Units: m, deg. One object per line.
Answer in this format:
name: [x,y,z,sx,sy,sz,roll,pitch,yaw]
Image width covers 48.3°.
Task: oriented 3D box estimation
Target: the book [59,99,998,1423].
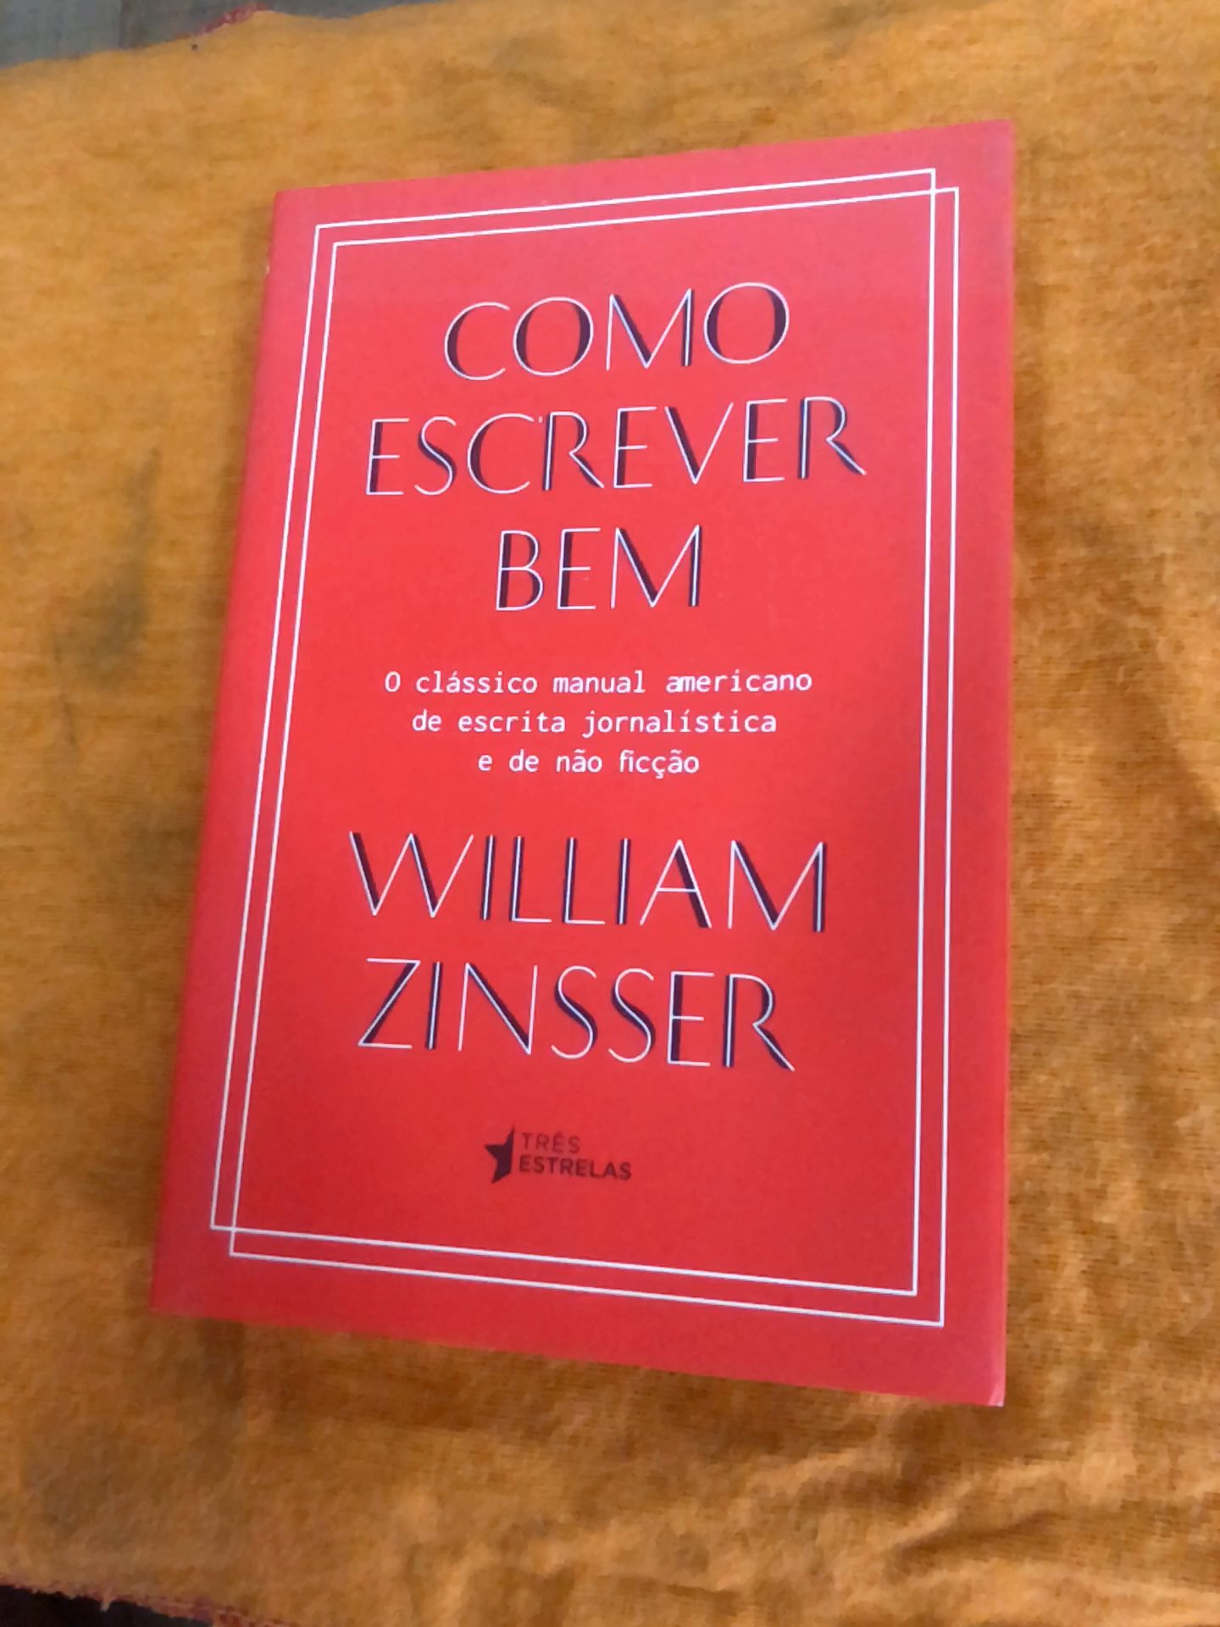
book: [-0.011,-0.015,0.223,0.140,0.020,0.195,1,80,14]
